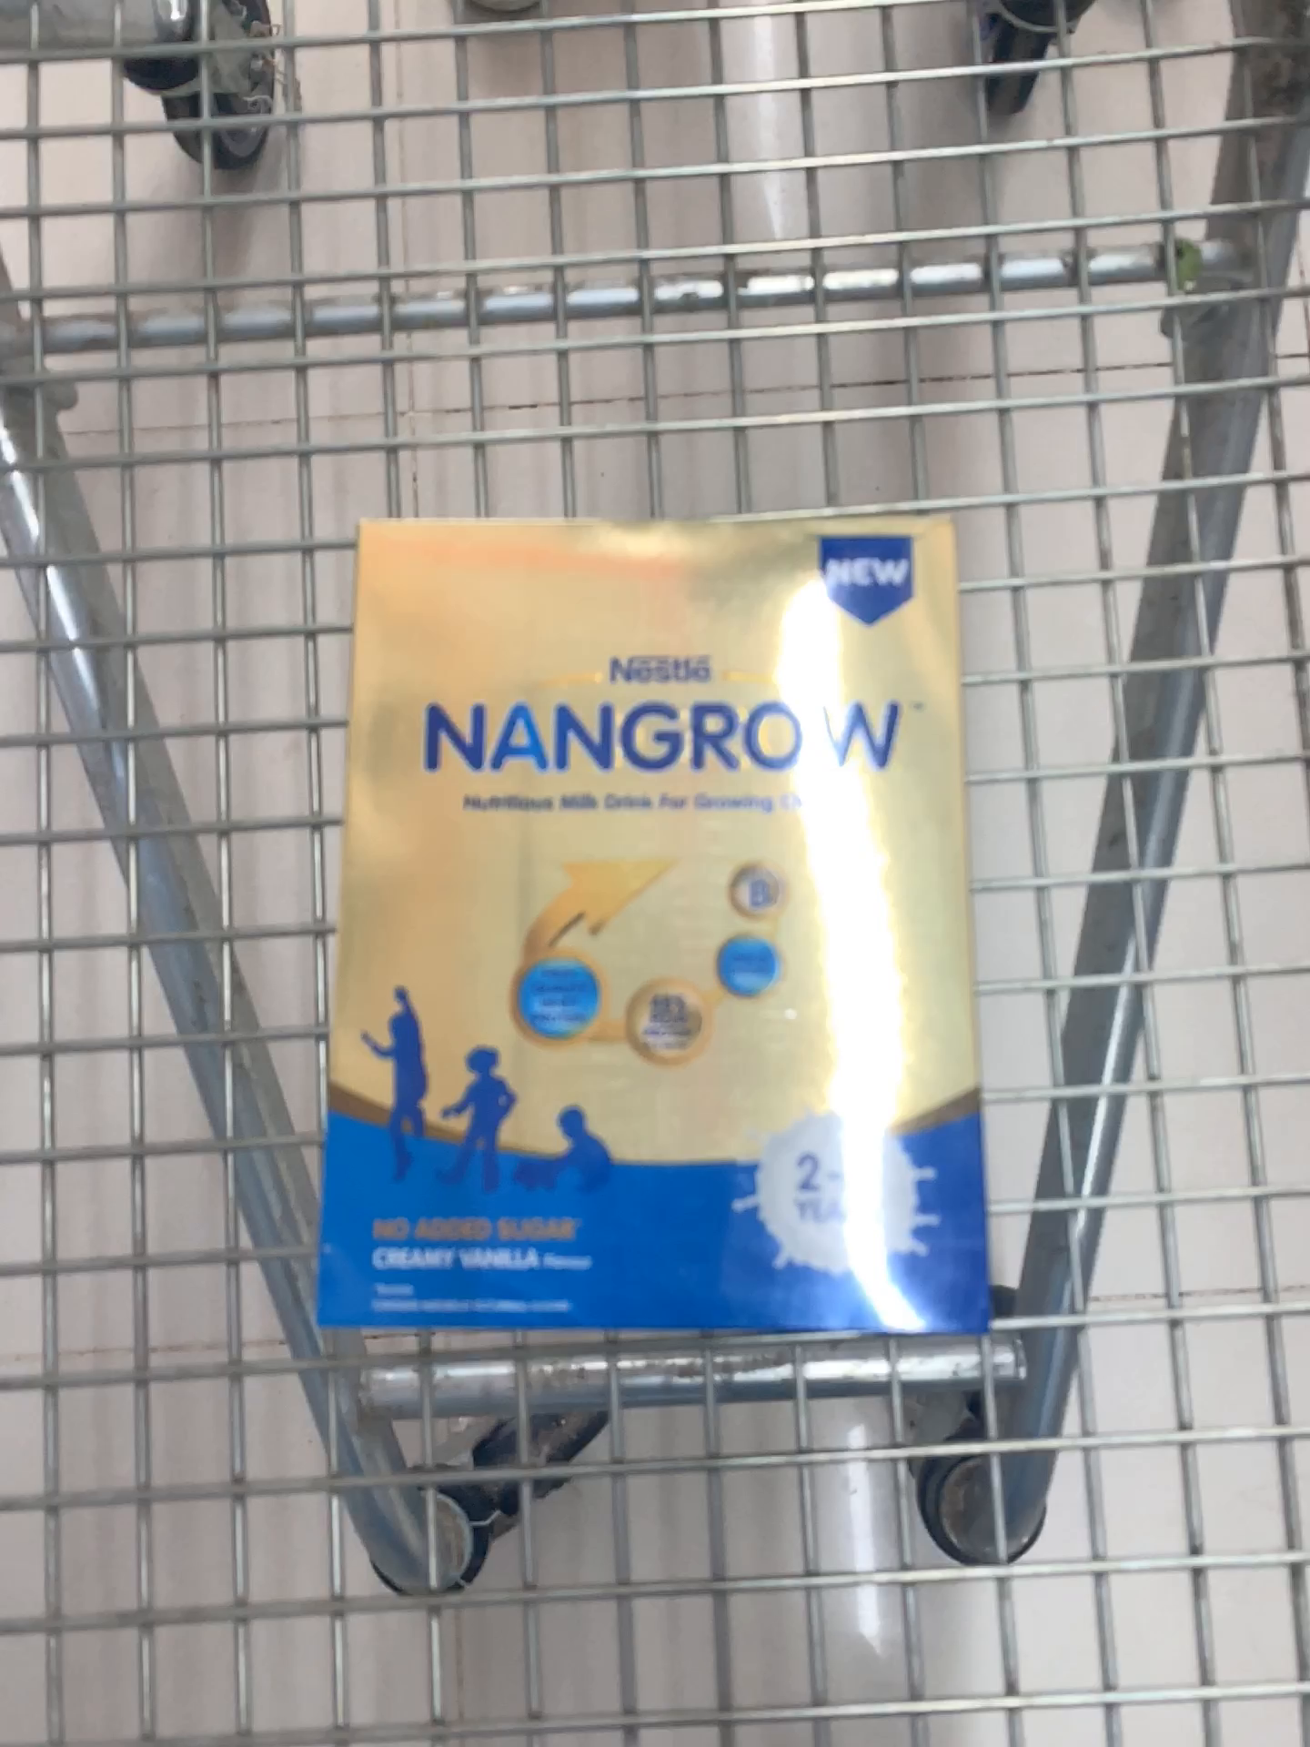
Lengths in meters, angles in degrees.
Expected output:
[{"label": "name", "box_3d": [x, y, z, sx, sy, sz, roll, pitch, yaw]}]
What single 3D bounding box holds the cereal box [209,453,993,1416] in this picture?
[{"label": "cereal box", "box_3d": [-0.009, 0.011, 0.293, 0.150, 0.060, 0.190, 1, 84, 2]}]
